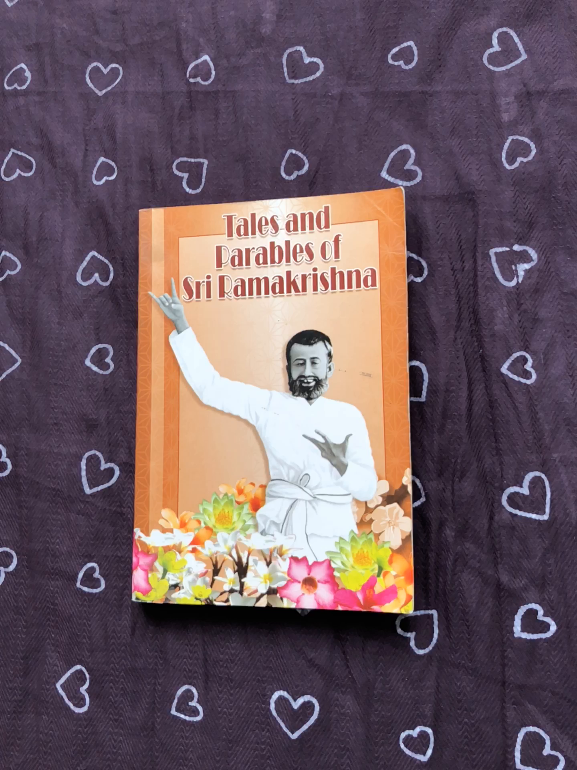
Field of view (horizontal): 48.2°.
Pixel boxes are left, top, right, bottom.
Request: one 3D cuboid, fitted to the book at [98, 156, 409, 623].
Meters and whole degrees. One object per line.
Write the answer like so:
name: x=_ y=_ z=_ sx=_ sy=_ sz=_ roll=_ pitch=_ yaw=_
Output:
book: x=-0.016 y=0.001 z=0.283 sx=0.130 sy=0.020 sz=0.190 roll=-2 pitch=83 yaw=11
